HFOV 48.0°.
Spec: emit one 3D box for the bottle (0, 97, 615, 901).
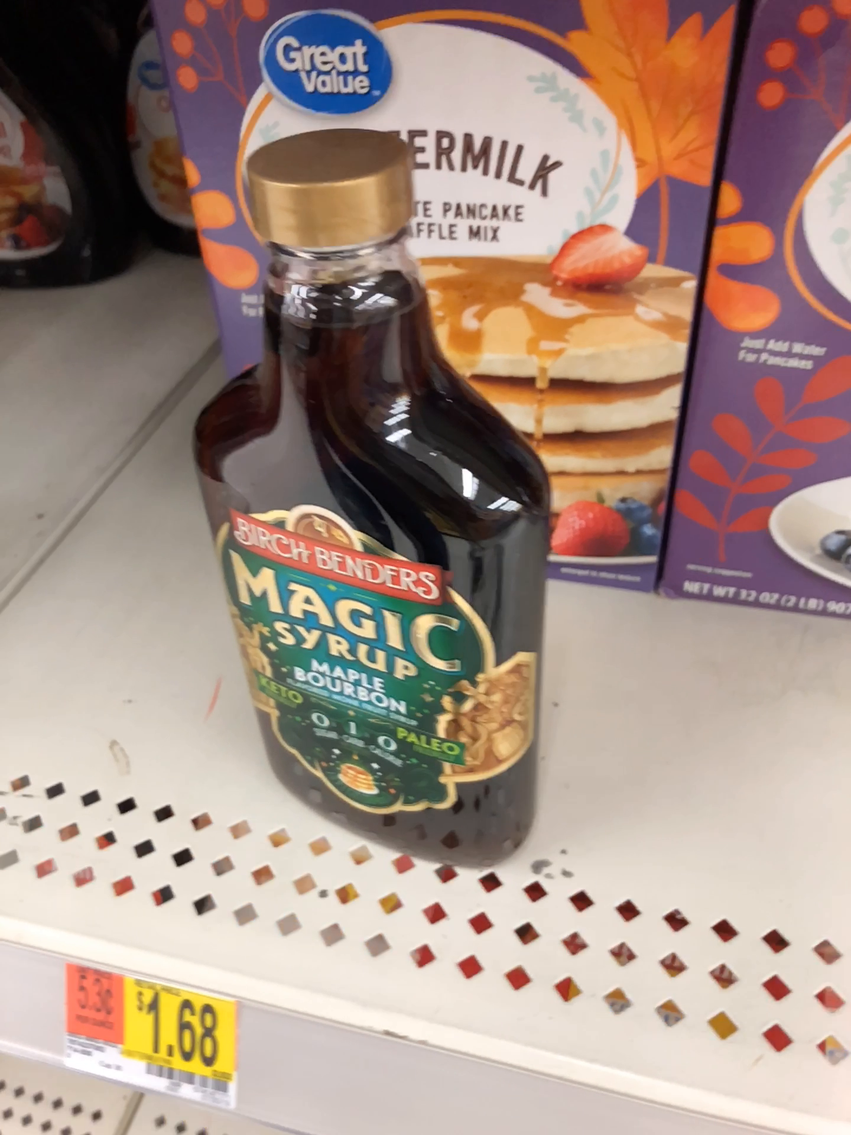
[{"bbox_3d":[-0.017,-0.006,0.230,0.100,0.180,0.050,16,45,21],"label":"bottle"}]
